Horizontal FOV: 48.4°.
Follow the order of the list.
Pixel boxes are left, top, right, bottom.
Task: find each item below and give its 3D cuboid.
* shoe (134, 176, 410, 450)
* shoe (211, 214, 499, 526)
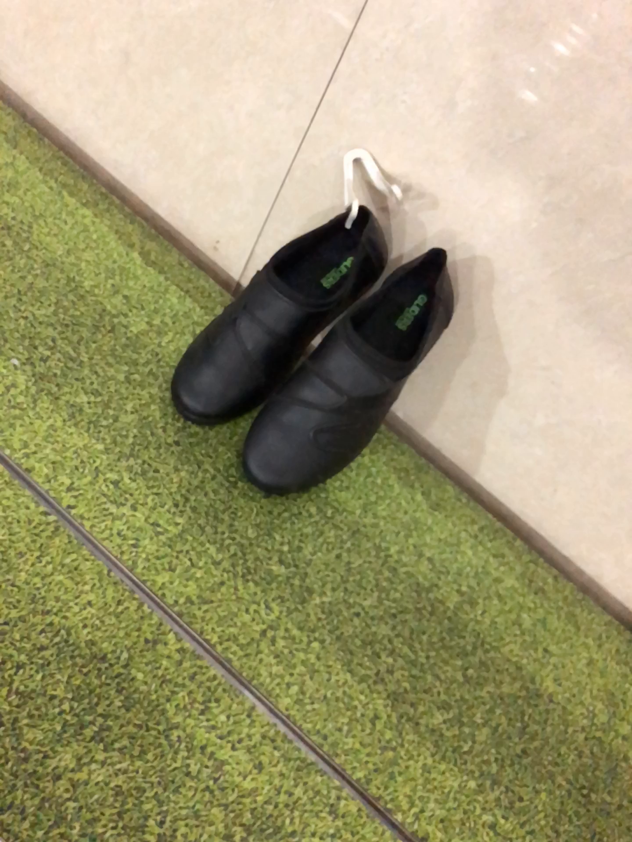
[{"bbox_3d":[-0.033,-0.087,0.577,0.074,0.228,0.067,44,169,4],"label":"shoe"},{"bbox_3d":[0.033,-0.036,0.600,0.087,0.248,0.107,39,174,7],"label":"shoe"}]
